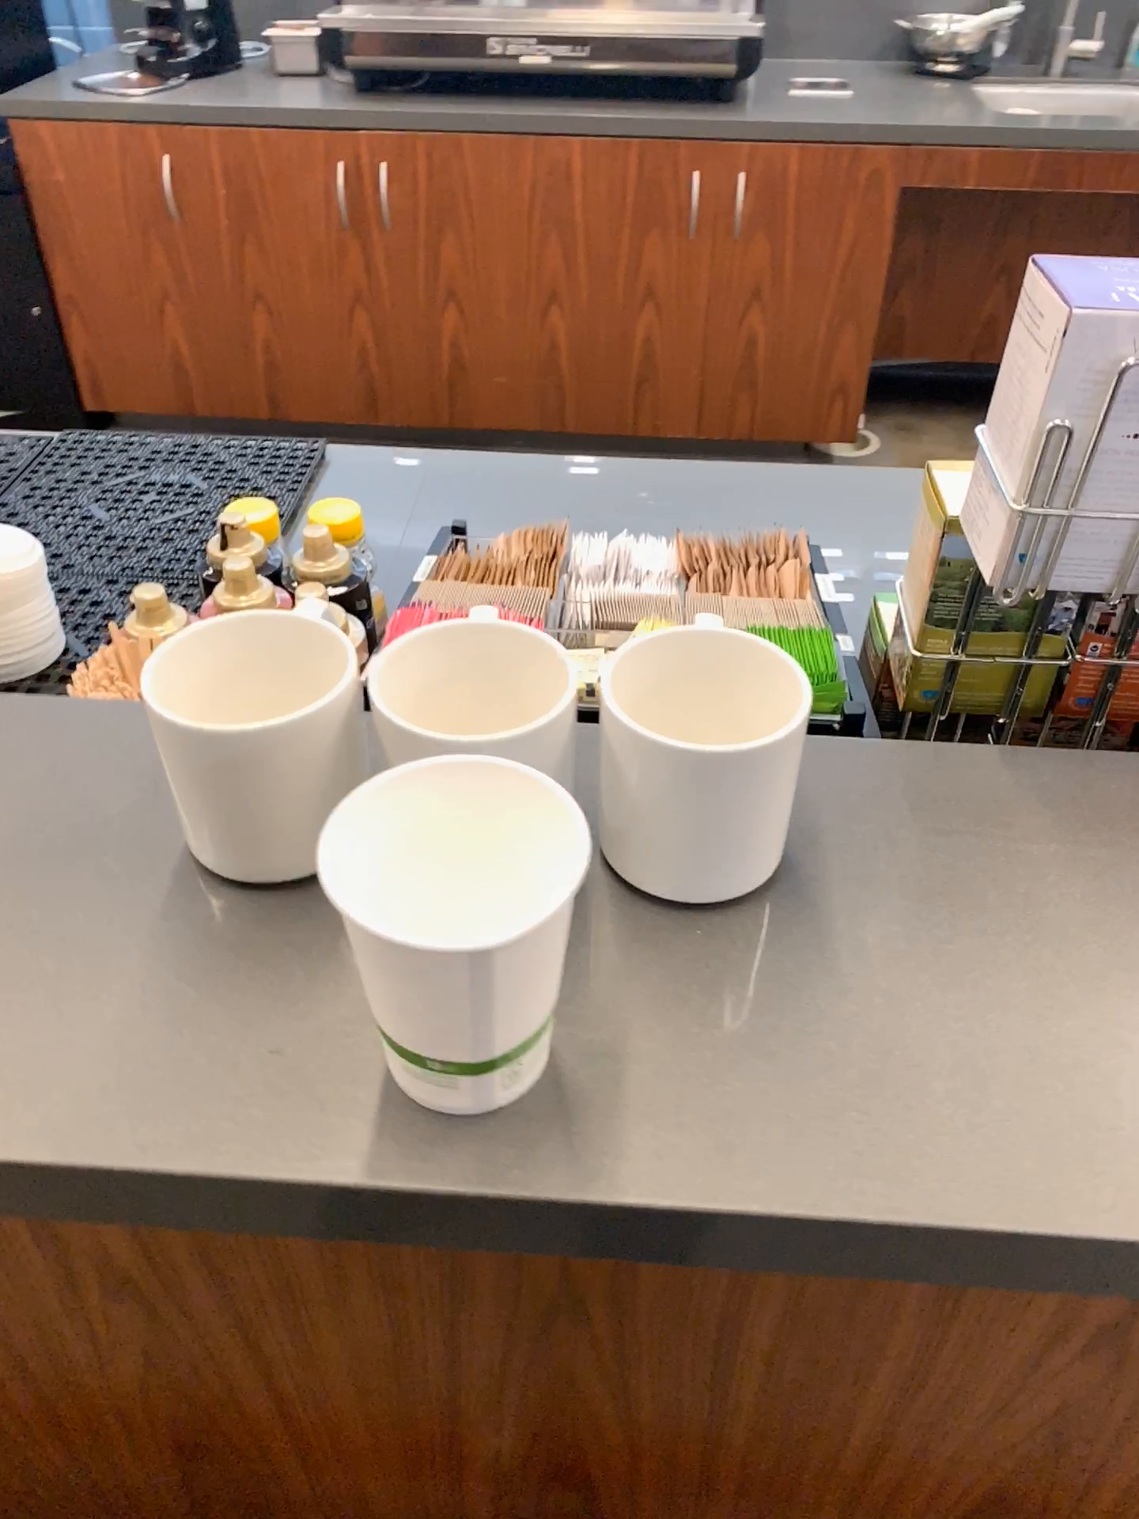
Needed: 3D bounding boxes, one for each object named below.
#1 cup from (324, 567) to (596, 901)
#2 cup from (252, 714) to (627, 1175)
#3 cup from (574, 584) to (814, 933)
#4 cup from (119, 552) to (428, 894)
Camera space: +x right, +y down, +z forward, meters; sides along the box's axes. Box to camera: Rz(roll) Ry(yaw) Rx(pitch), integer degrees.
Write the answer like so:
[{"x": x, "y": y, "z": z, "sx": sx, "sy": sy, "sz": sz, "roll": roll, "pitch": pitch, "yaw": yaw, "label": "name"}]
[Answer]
[{"x": -0.042, "y": -0.014, "z": 0.518, "sx": 0.090, "sy": 0.089, "sz": 0.111, "roll": 7, "pitch": 40, "yaw": 7, "label": "cup"}, {"x": -0.044, "y": 0.061, "z": 0.407, "sx": 0.090, "sy": 0.099, "sz": 0.091, "roll": 0, "pitch": 40, "yaw": 0, "label": "cup"}, {"x": 0.054, "y": -0.003, "z": 0.519, "sx": 0.090, "sy": 0.099, "sz": 0.111, "roll": 5, "pitch": 40, "yaw": 6, "label": "cup"}, {"x": -0.126, "y": -0.019, "z": 0.531, "sx": 0.090, "sy": 0.099, "sz": 0.111, "roll": 7, "pitch": 40, "yaw": 7, "label": "cup"}]
